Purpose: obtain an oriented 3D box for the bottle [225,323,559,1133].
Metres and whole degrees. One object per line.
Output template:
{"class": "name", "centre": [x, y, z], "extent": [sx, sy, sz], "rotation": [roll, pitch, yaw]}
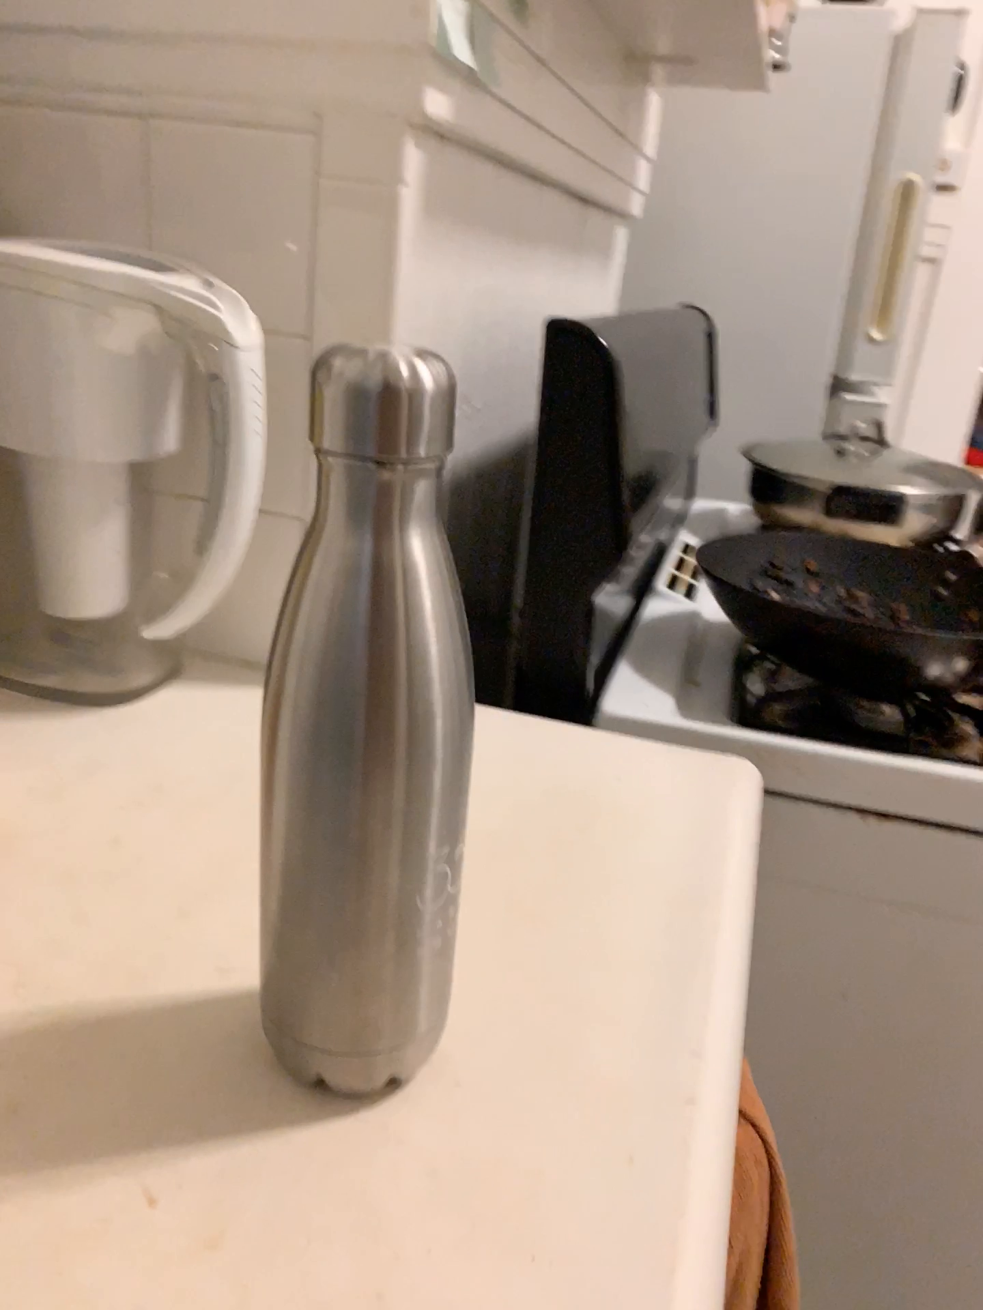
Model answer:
{"class": "bottle", "centre": [-0.037, 0.026, 0.335], "extent": [0.070, 0.249, 0.070], "rotation": [5, 22, -2]}
